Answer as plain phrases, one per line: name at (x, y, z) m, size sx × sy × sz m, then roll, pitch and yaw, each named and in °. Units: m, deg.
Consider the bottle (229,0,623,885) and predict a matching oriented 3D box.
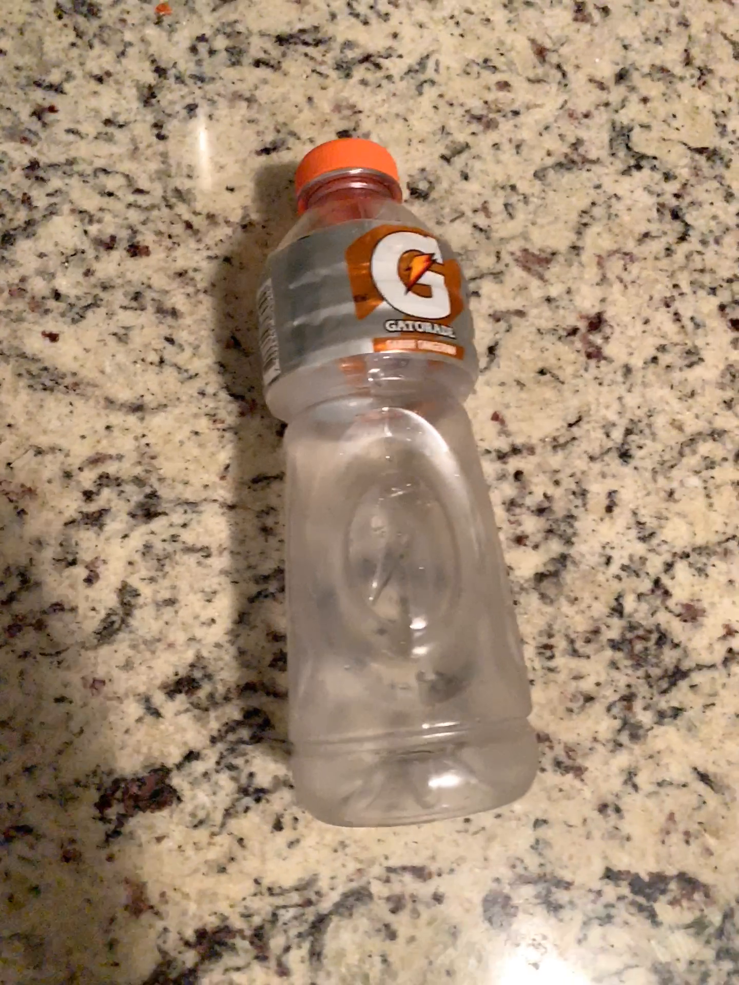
bottle at (0.004, -0.021, 0.220) m, size 0.070 × 0.070 × 0.220 m, roll -4°, pitch 77°, yaw -9°
